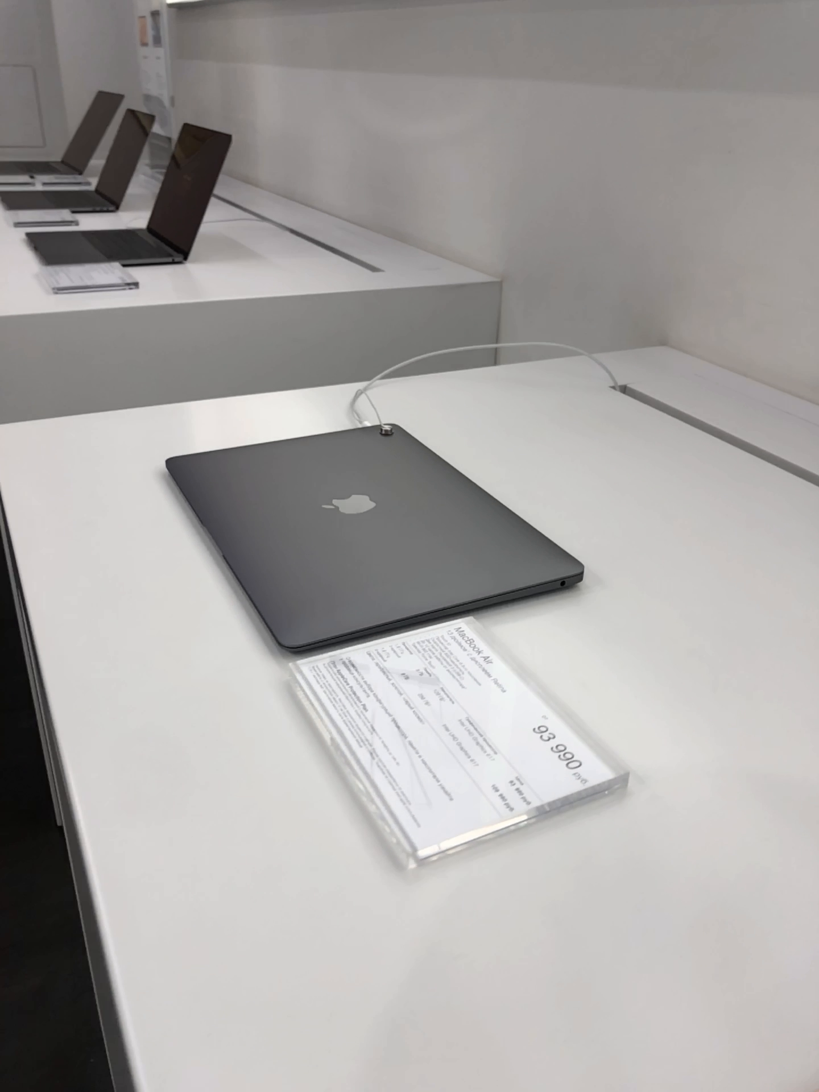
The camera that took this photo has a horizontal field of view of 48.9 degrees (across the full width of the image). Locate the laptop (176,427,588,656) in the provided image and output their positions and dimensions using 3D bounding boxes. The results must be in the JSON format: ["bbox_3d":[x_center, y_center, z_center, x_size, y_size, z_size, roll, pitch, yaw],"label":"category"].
[{"bbox_3d":[-0.038,-0.023,0.664,0.204,0.006,0.293,-13,30,-22],"label":"laptop"}]
